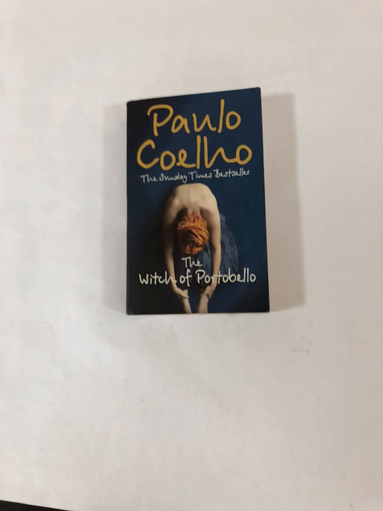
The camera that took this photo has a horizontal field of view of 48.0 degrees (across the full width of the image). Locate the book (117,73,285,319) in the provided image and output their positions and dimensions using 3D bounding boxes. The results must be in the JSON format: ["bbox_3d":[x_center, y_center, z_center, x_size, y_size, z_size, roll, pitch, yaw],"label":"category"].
[{"bbox_3d":[0.005,-0.043,0.333,0.120,0.030,0.180,-3,82,9],"label":"book"}]
